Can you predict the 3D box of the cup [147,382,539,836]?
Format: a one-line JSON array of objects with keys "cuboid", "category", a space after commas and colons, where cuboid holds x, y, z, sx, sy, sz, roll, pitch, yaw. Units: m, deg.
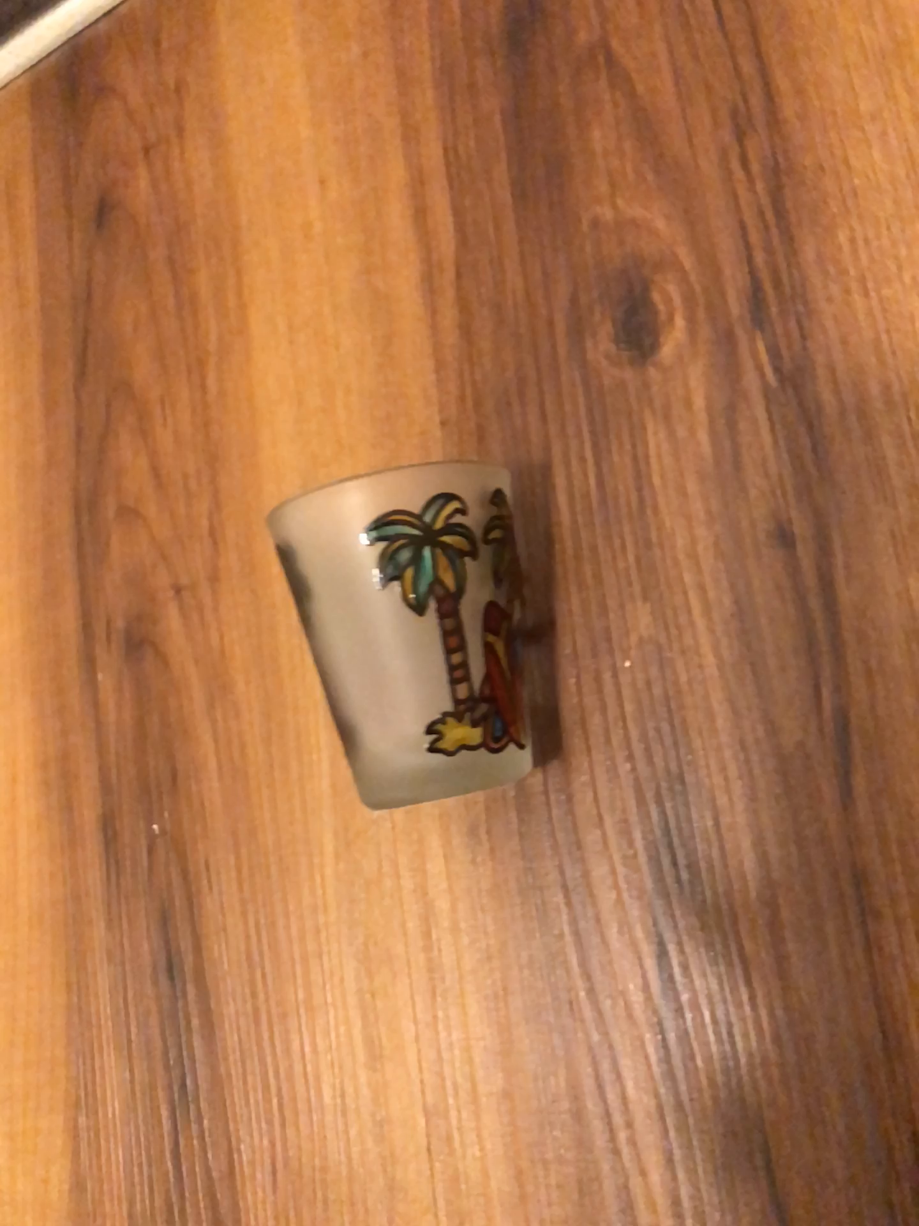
[{"cuboid": [-0.022, 0.003, 0.197, 0.050, 0.045, 0.070, -14, 78, 30], "category": "cup"}]
